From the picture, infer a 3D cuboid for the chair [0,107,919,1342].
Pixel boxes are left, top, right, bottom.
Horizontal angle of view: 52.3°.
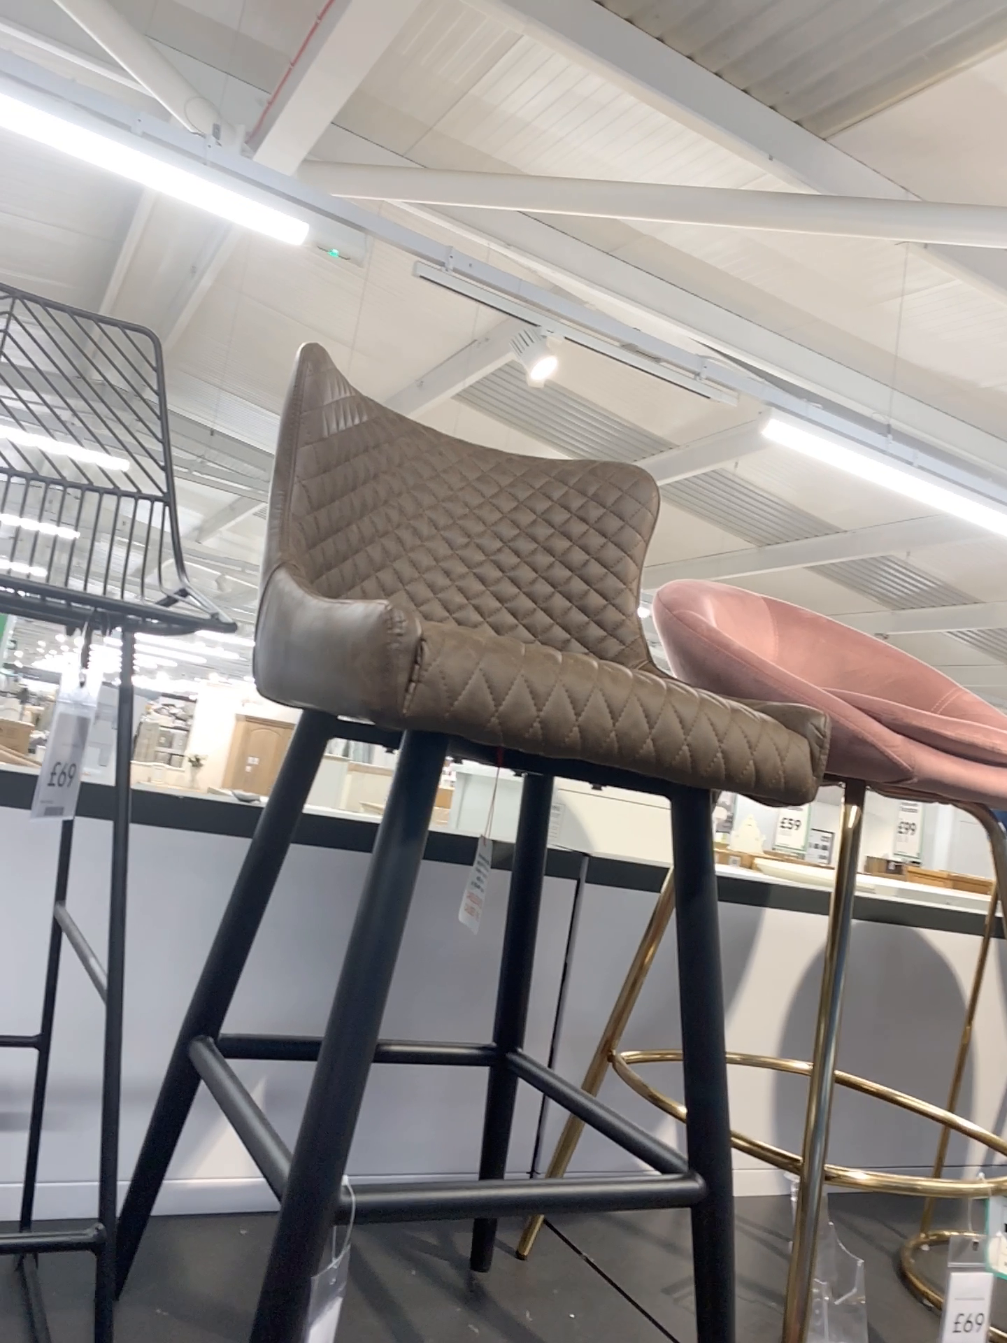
[{"bbox_3d":[-0.050,0.148,0.985,0.534,0.998,0.465,15,-5,-34],"label":"chair"}]
